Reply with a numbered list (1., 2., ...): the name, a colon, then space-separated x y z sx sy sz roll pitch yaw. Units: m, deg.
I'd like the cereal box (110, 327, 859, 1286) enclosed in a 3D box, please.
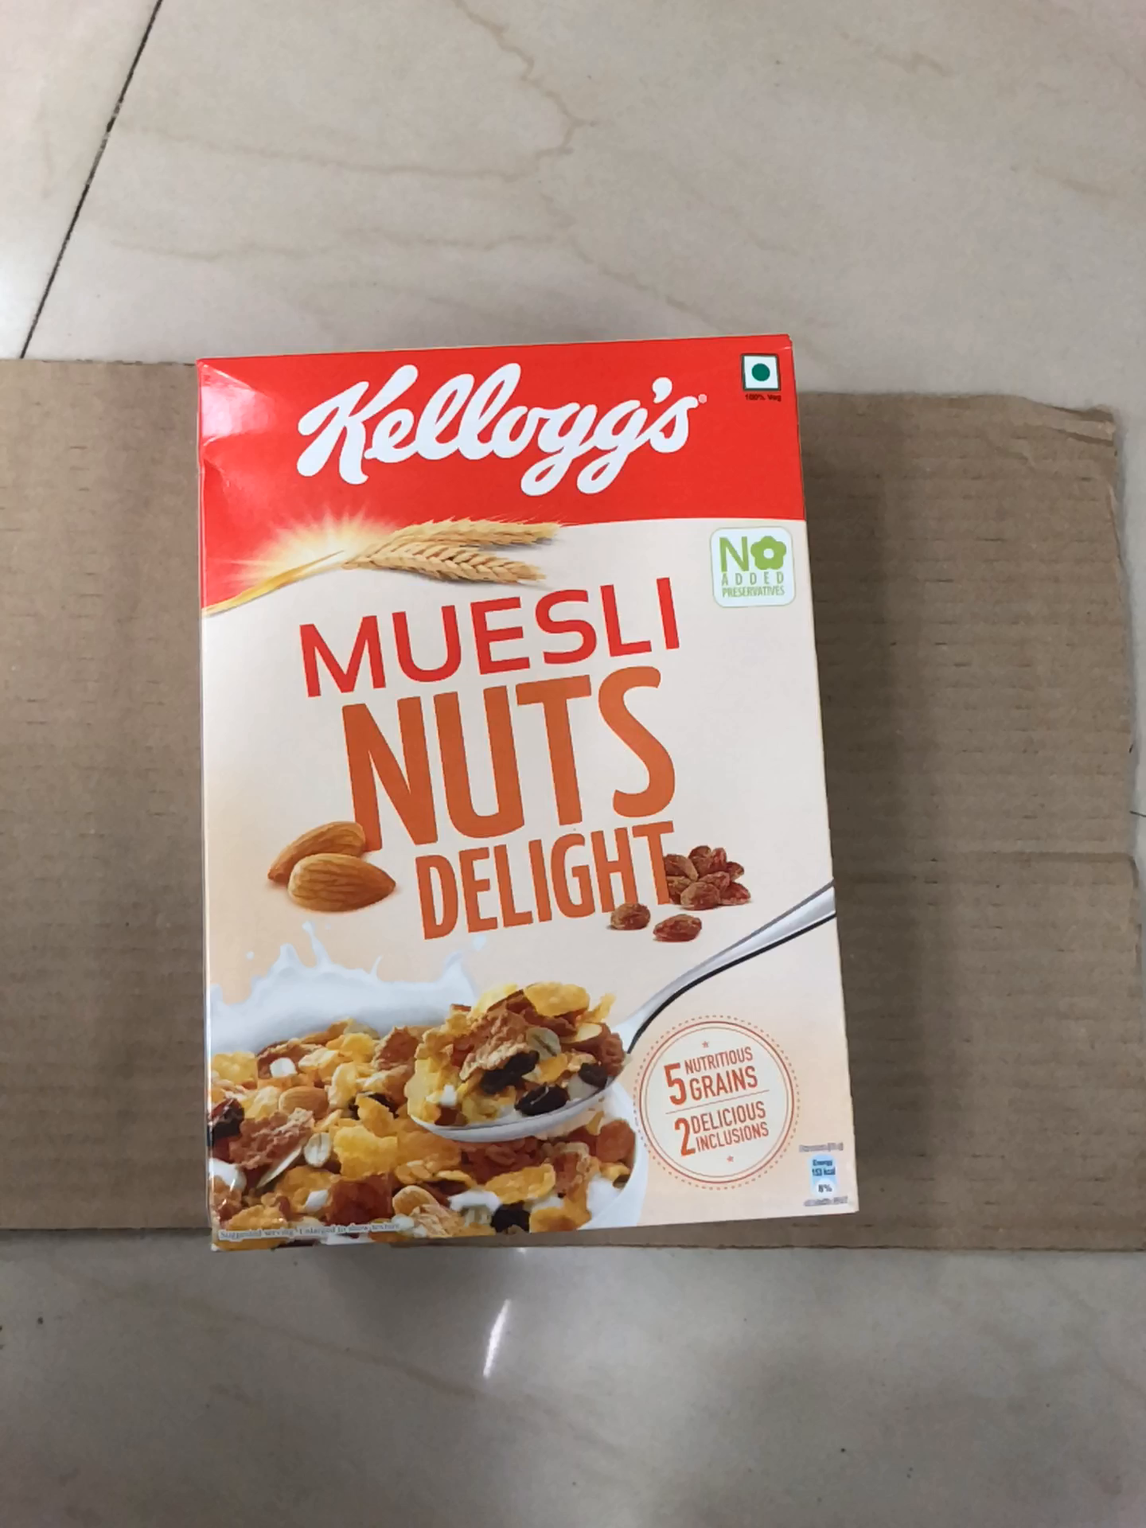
1. cereal box: -0.027 0.010 0.384 0.190 0.080 0.250 -3 86 -2
